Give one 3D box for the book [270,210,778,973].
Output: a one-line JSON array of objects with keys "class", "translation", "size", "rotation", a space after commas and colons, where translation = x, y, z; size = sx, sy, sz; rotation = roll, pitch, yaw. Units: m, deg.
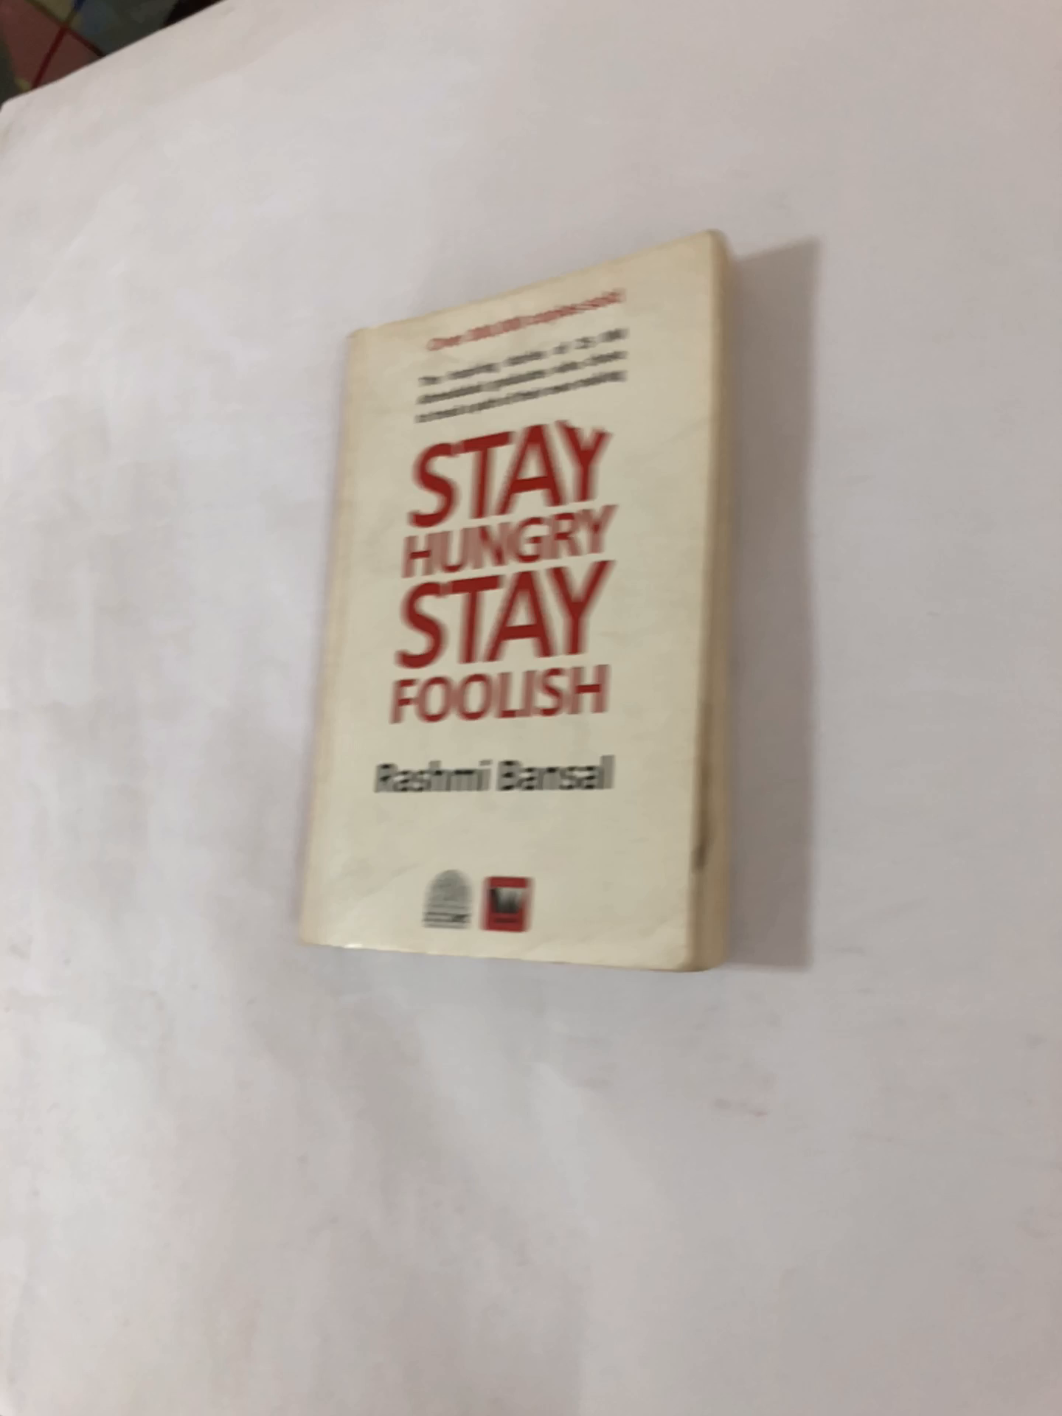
[{"class": "book", "translation": [-0.001, -0.027, 0.336], "size": [0.131, 0.040, 0.190], "rotation": [-4, 76, 31]}]
